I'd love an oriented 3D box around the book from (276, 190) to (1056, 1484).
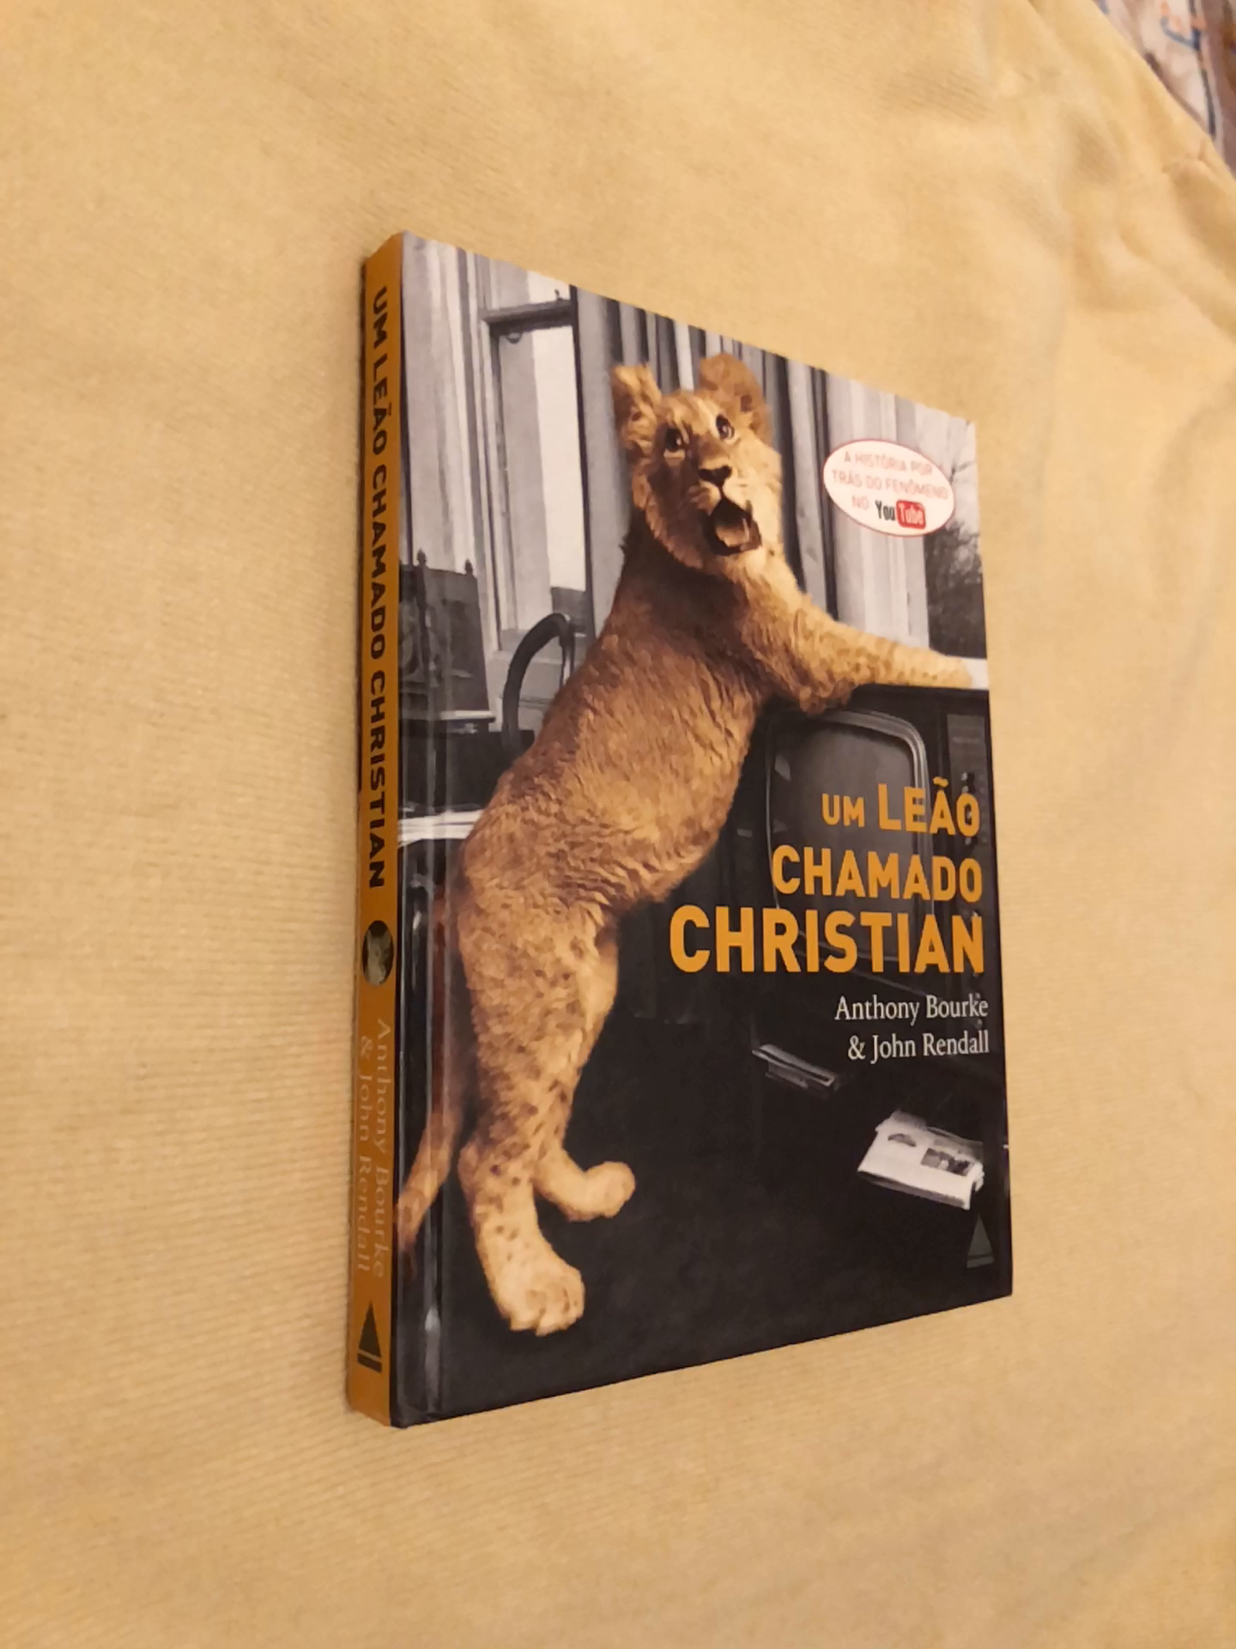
[{"bbox_3d":[0.013,0.000,0.263,0.151,0.030,0.200,3,79,-33],"label":"book"}]
